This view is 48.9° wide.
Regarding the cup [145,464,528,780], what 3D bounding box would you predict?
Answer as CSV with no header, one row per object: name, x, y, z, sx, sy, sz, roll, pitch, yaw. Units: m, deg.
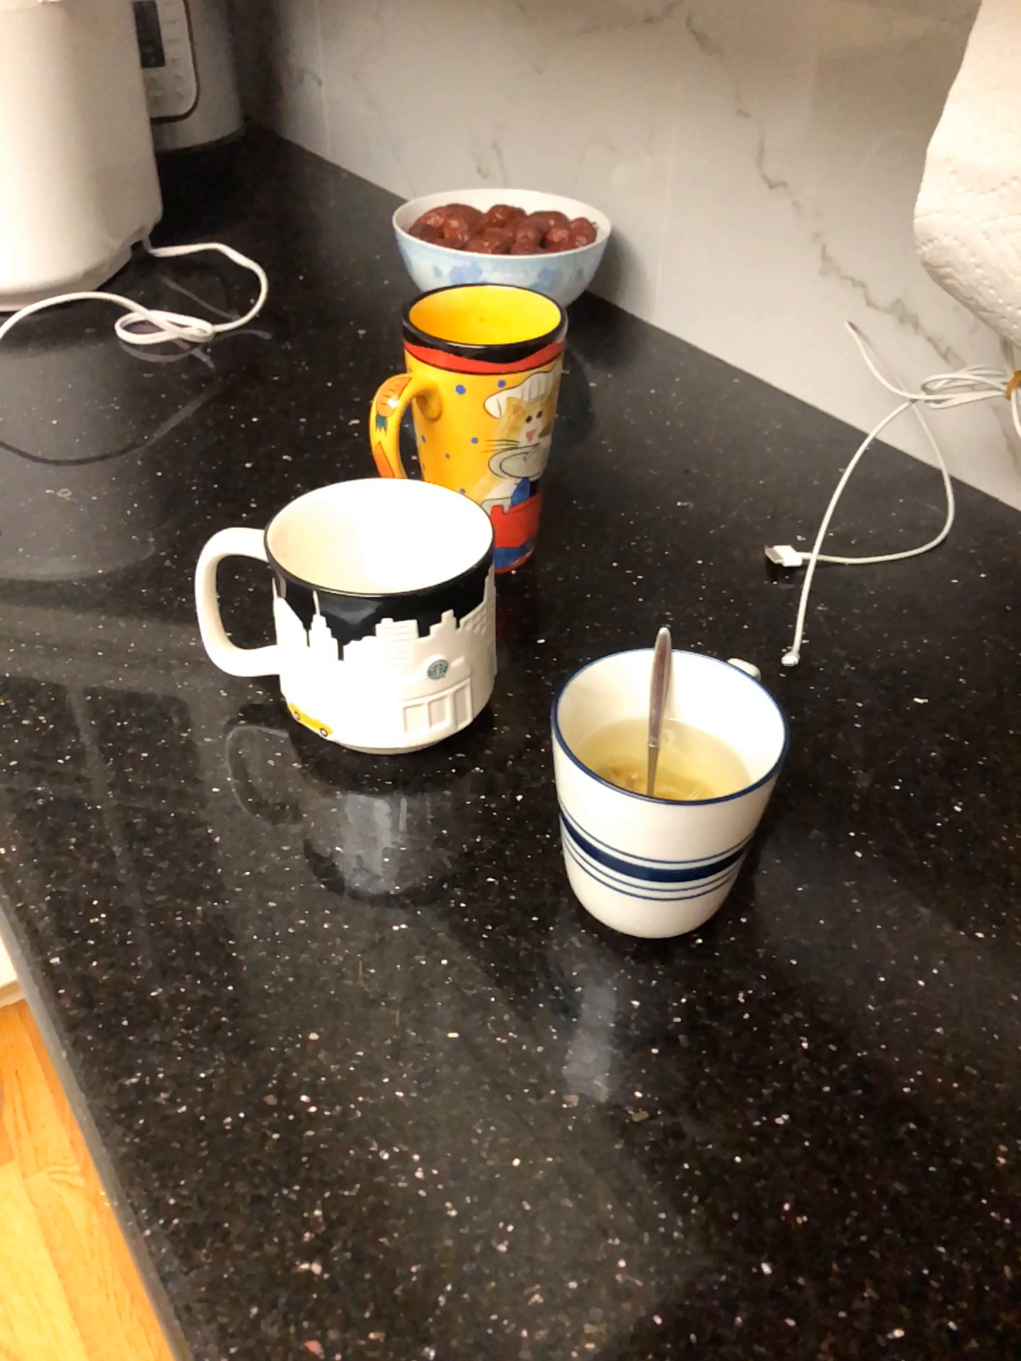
cup,-0.072,-0.031,0.520,0.140,0.080,0.111,8,39,8

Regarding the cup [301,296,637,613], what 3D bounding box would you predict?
cup,-0.020,-0.130,0.616,0.100,0.099,0.151,29,46,30

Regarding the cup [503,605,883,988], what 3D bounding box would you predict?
cup,0.070,0.038,0.436,0.090,0.060,0.120,27,45,29
